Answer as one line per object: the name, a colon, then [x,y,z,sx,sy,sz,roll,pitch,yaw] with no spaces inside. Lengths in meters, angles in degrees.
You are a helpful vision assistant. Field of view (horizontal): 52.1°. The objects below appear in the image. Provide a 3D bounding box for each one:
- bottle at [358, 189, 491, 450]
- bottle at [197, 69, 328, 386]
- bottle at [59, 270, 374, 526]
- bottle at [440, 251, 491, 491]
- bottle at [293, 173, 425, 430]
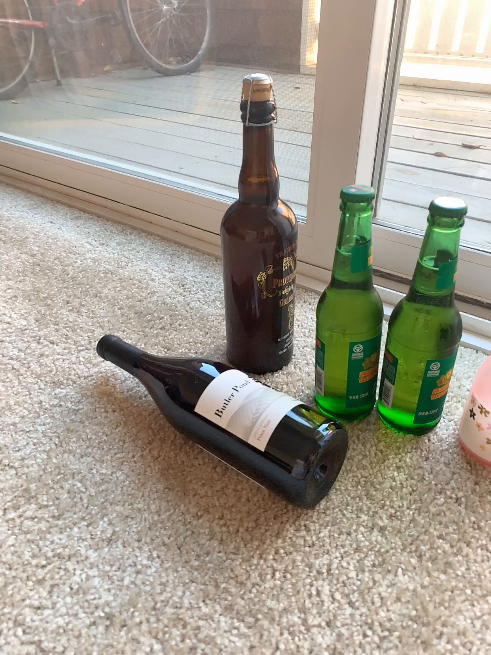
bottle: [0.164,-0.002,0.457,0.070,0.219,0.070,0,34,0]
bottle: [0.016,-0.089,0.500,0.080,0.288,0.080,0,34,0]
bottle: [-0.039,0.048,0.447,0.281,0.080,0.070,27,42,24]
bottle: [0.229,0.039,0.423,0.070,0.179,0.070,0,34,0]
bottle: [0.095,-0.018,0.450,0.070,0.209,0.070,0,34,0]
